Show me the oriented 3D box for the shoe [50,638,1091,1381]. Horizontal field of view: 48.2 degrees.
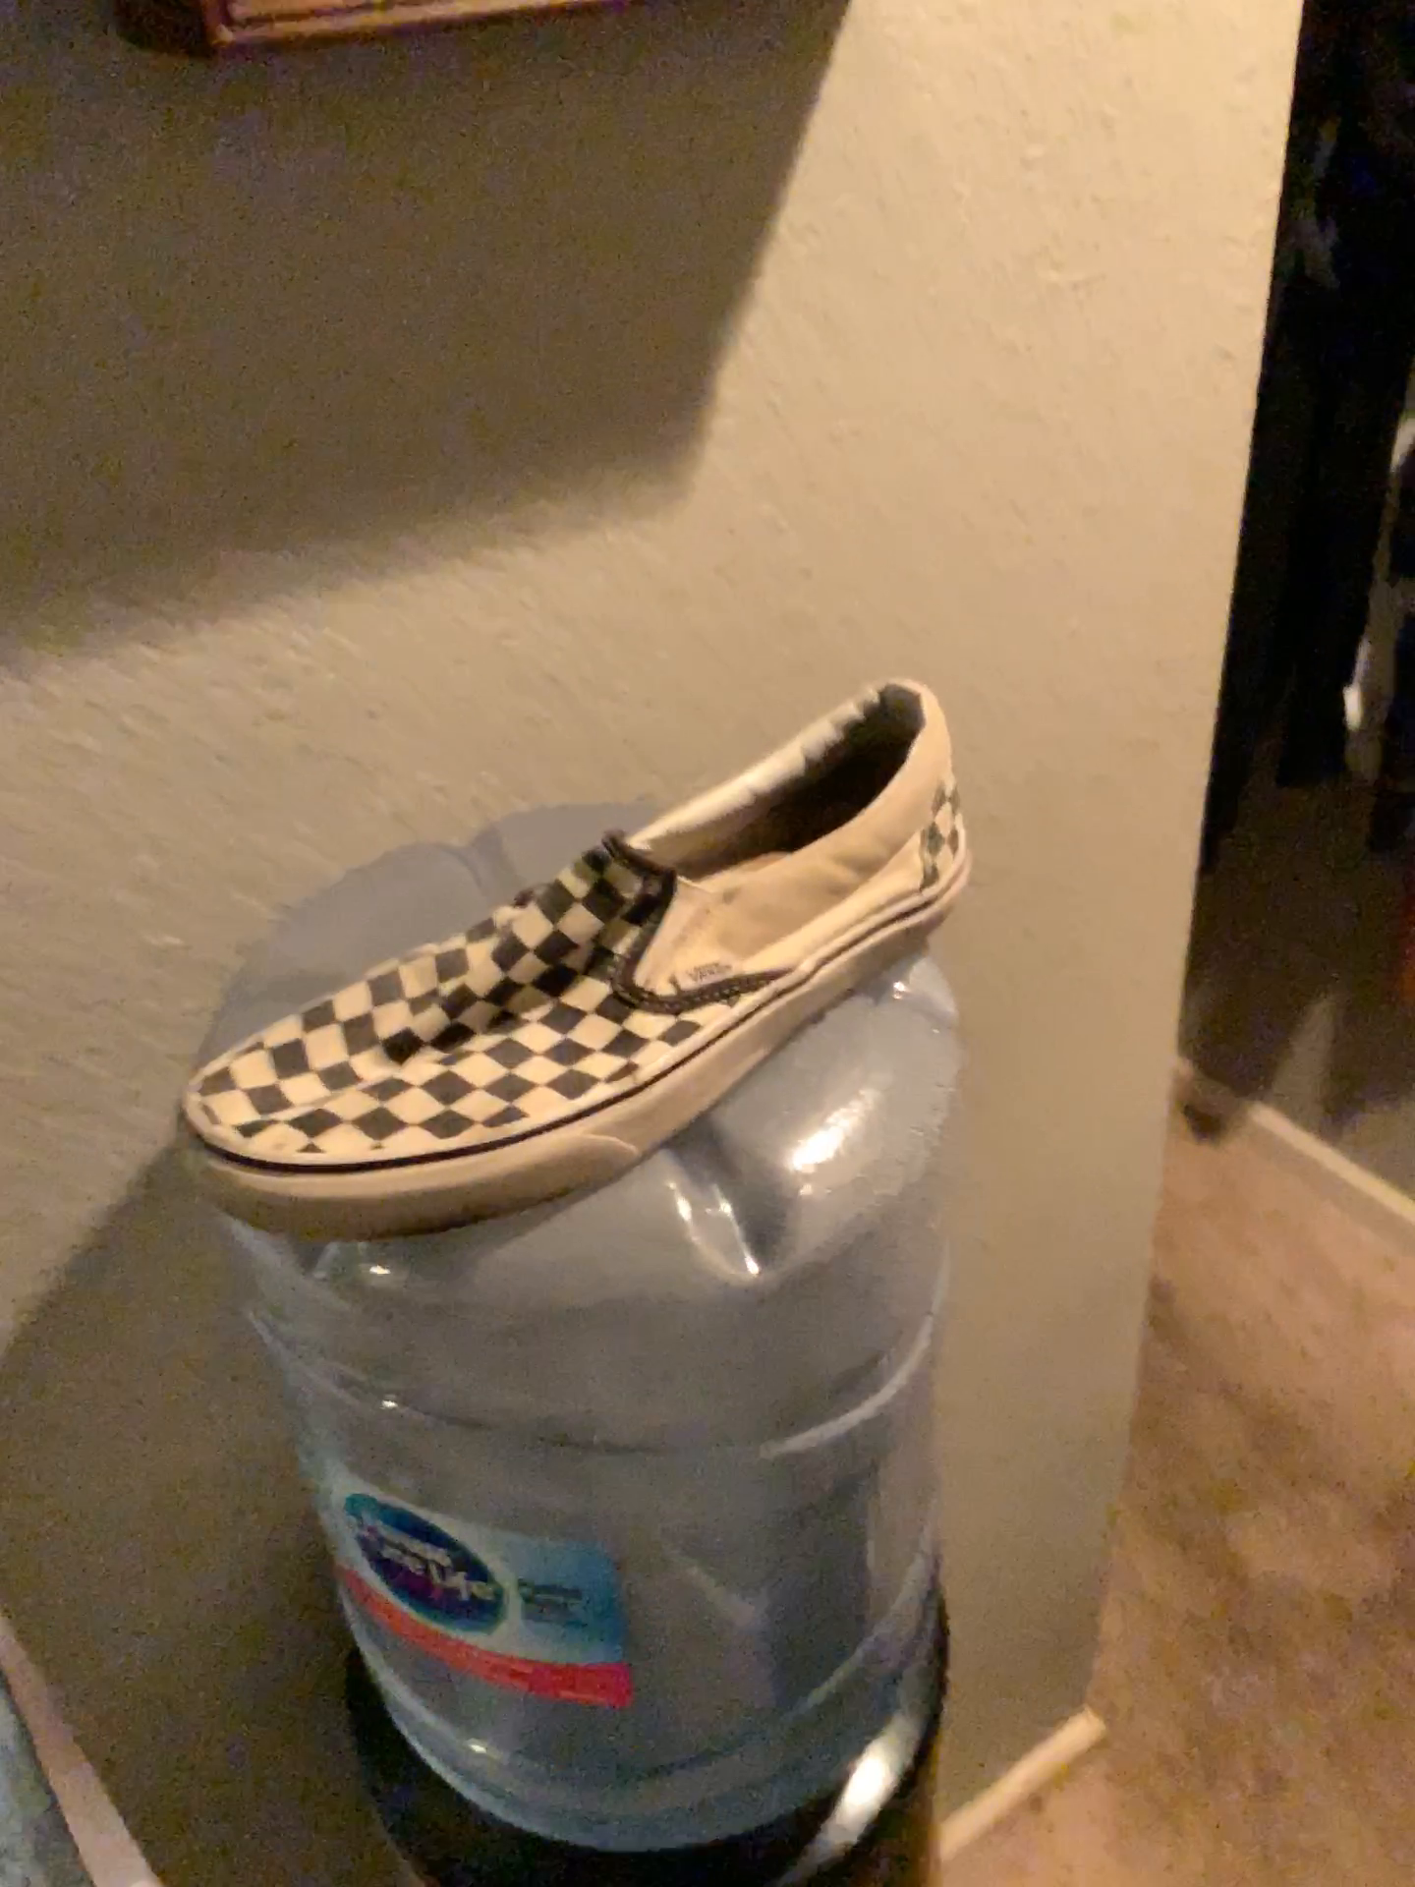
[{"bbox_3d":[-0.035,0.002,0.491,0.280,0.080,0.130,-22,39,-23],"label":"shoe"}]
